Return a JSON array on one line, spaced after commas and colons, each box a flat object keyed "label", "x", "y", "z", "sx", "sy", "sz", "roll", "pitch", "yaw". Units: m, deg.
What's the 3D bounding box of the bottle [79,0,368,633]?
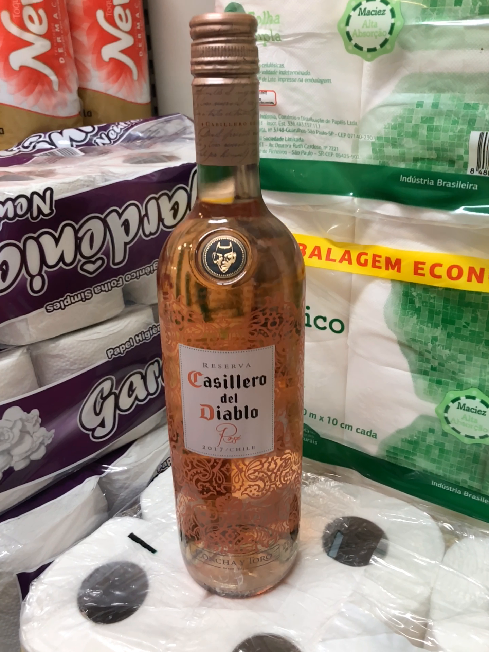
[{"label": "bottle", "x": 0.006, "y": 0.001, "z": 0.266, "sx": 0.090, "sy": 0.308, "sz": 0.081, "roll": 3, "pitch": 25, "yaw": 13}]
